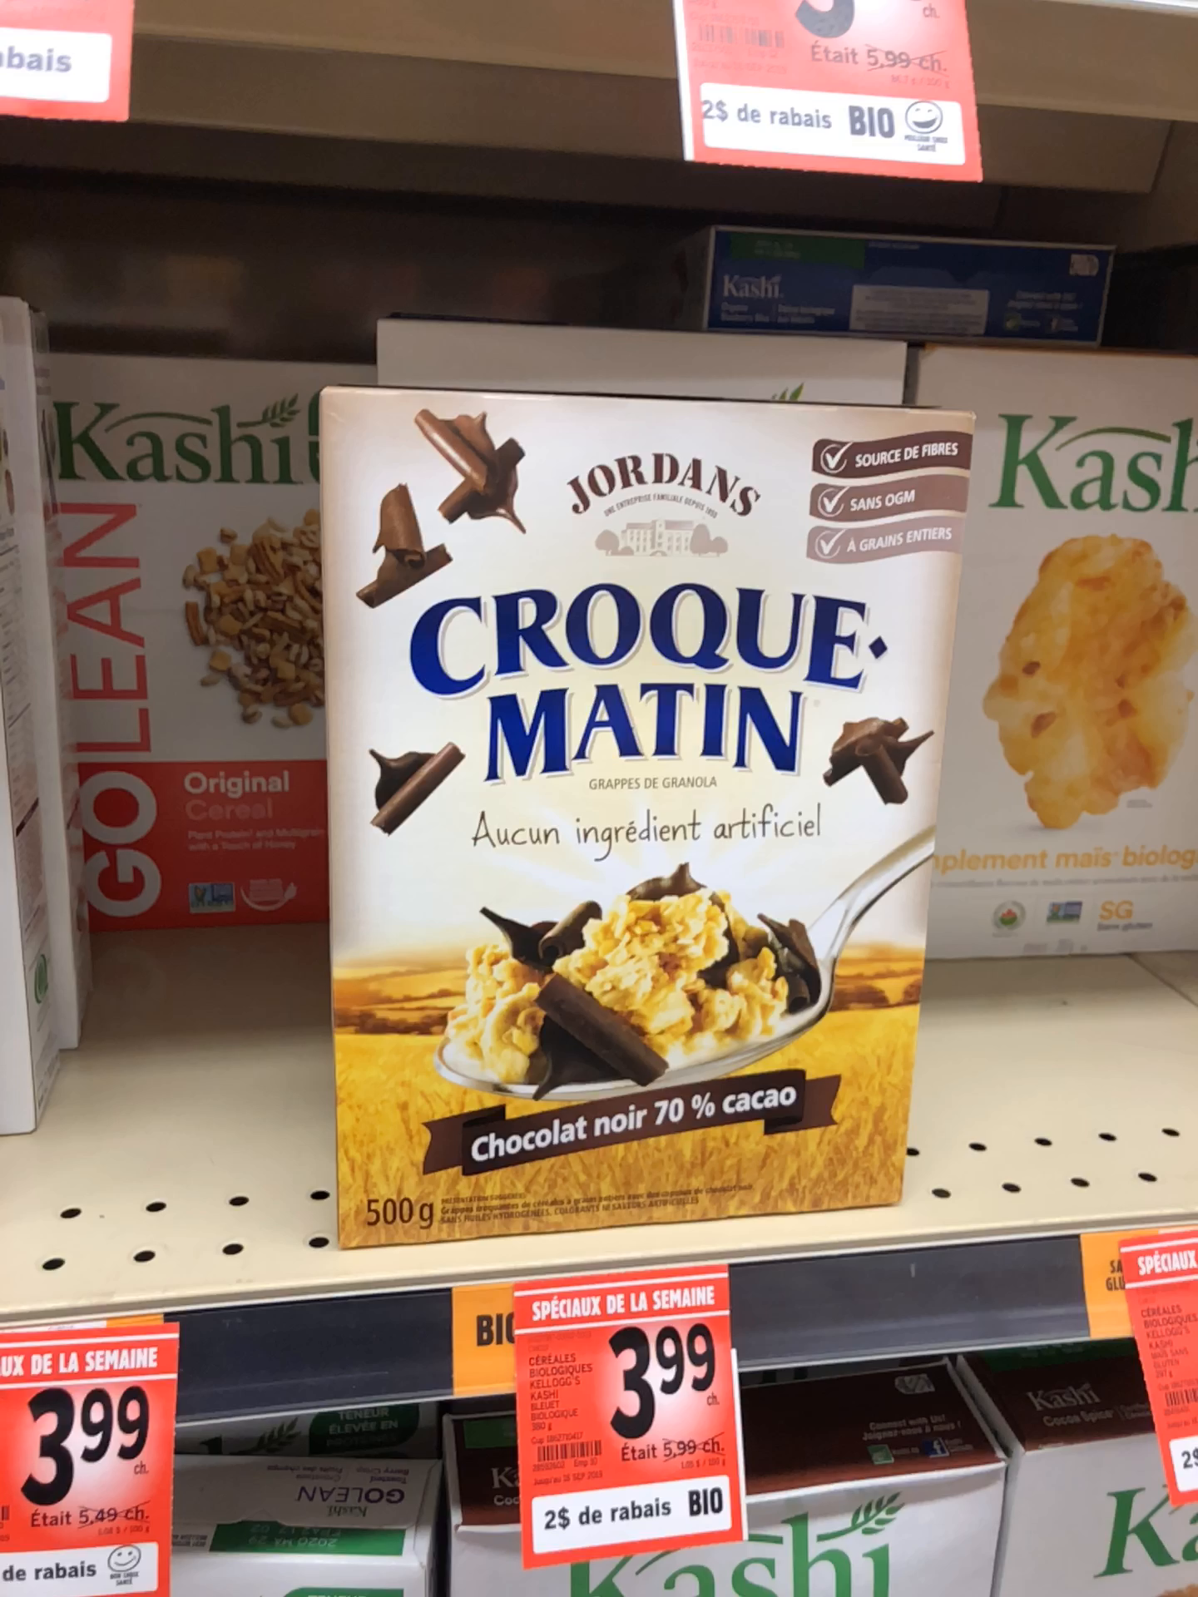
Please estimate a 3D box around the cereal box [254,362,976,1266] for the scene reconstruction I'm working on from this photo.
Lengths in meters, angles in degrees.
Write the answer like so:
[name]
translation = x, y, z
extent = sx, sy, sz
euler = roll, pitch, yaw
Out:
[cereal box]
translation = 0.001, 0.006, 0.395
extent = 0.190, 0.249, 0.050
euler = -1, 14, -11
